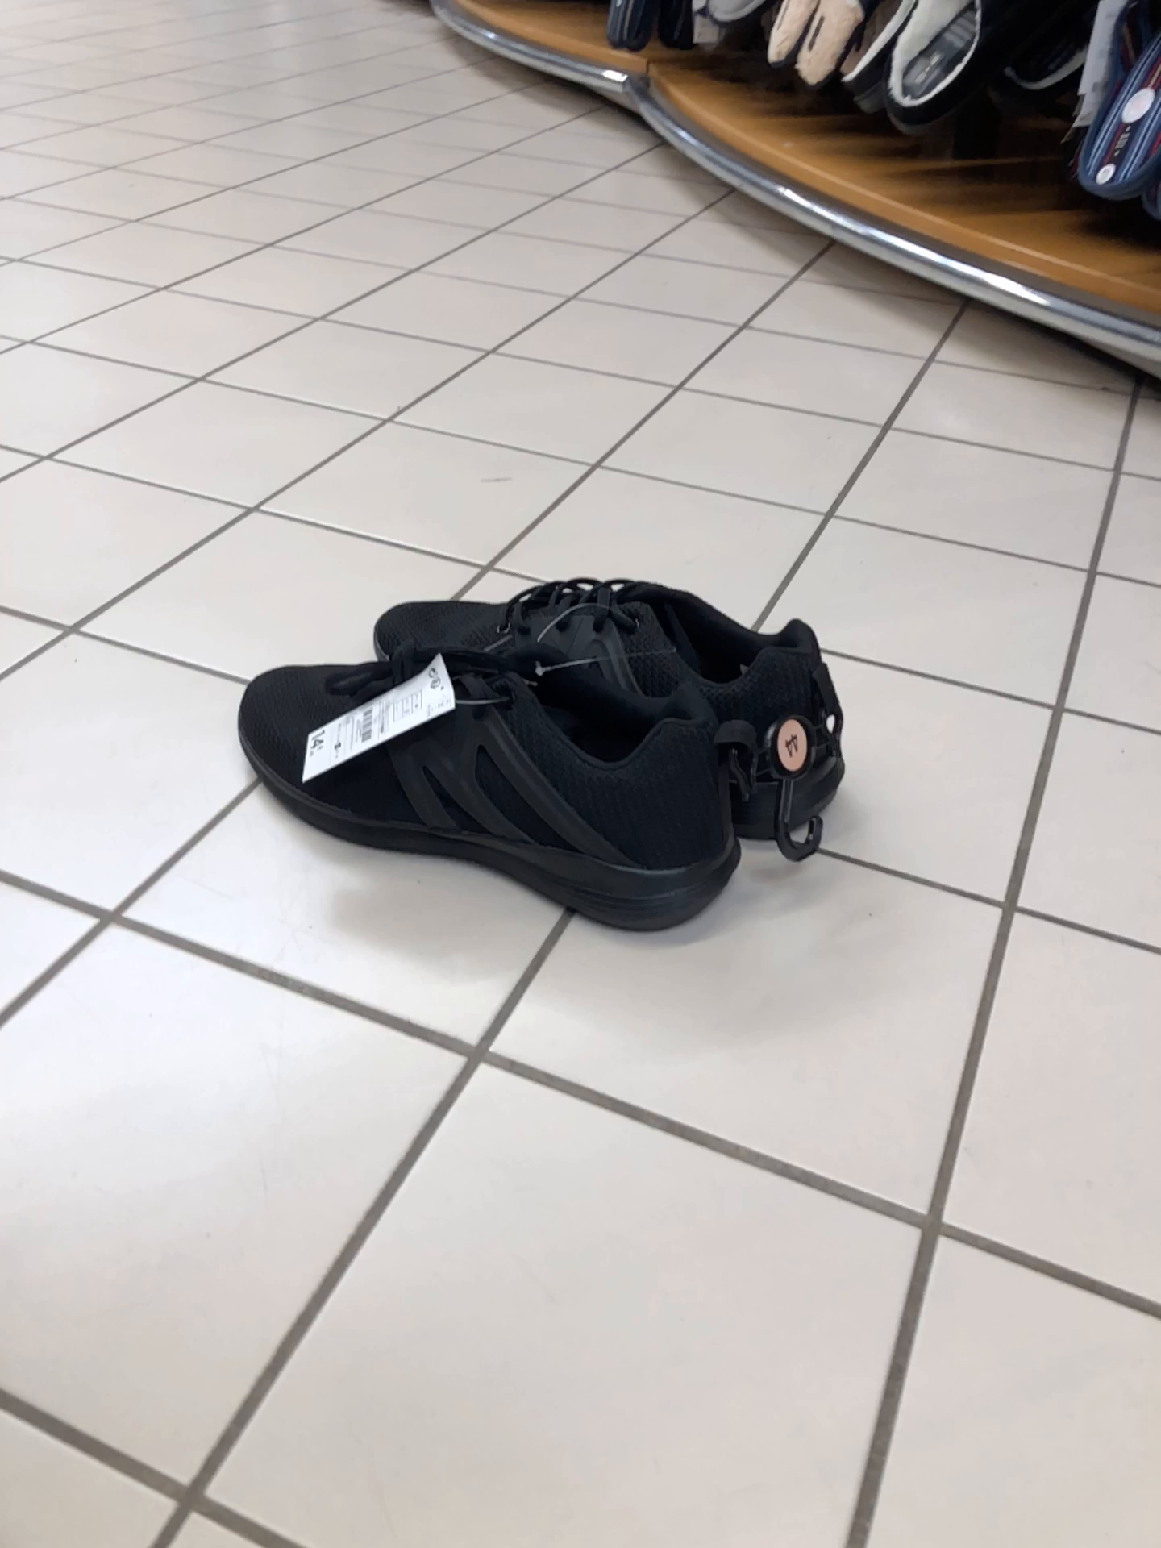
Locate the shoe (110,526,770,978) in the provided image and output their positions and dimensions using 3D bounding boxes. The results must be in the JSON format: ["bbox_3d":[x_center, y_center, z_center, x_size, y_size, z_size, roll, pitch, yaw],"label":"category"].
[{"bbox_3d":[-0.074,-0.021,0.647,0.310,0.109,0.101,18,39,20],"label":"shoe"}]

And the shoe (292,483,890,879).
[{"bbox_3d":[0.000,-0.061,0.717,0.310,0.109,0.101,18,39,20],"label":"shoe"}]
